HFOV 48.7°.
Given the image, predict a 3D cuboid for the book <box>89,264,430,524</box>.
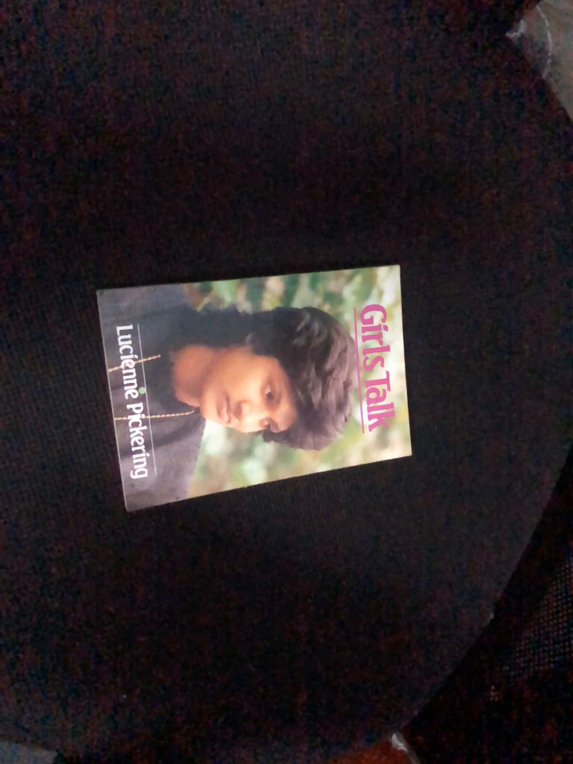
[{"bbox_3d":[-0.006,0.002,0.380,0.201,0.010,0.130,-8,99,-19],"label":"book"}]
